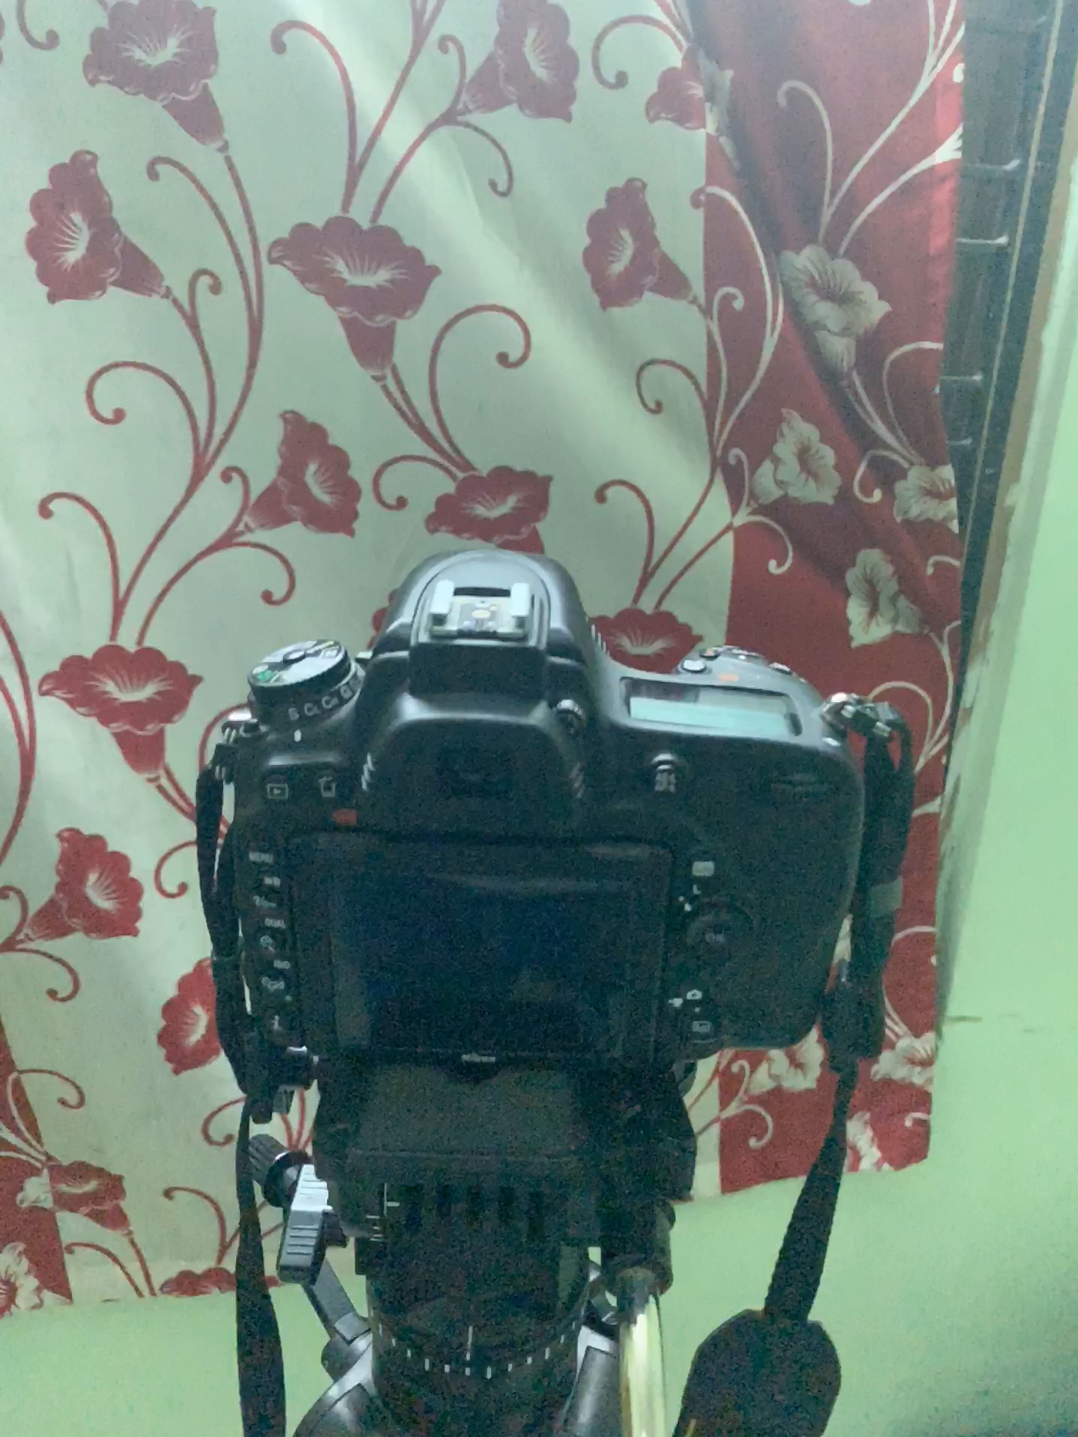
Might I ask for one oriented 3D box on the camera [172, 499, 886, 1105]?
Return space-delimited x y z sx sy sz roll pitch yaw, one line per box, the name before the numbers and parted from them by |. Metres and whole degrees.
camera | -0.004 0.011 0.296 0.139 0.112 0.130 2 20 0
